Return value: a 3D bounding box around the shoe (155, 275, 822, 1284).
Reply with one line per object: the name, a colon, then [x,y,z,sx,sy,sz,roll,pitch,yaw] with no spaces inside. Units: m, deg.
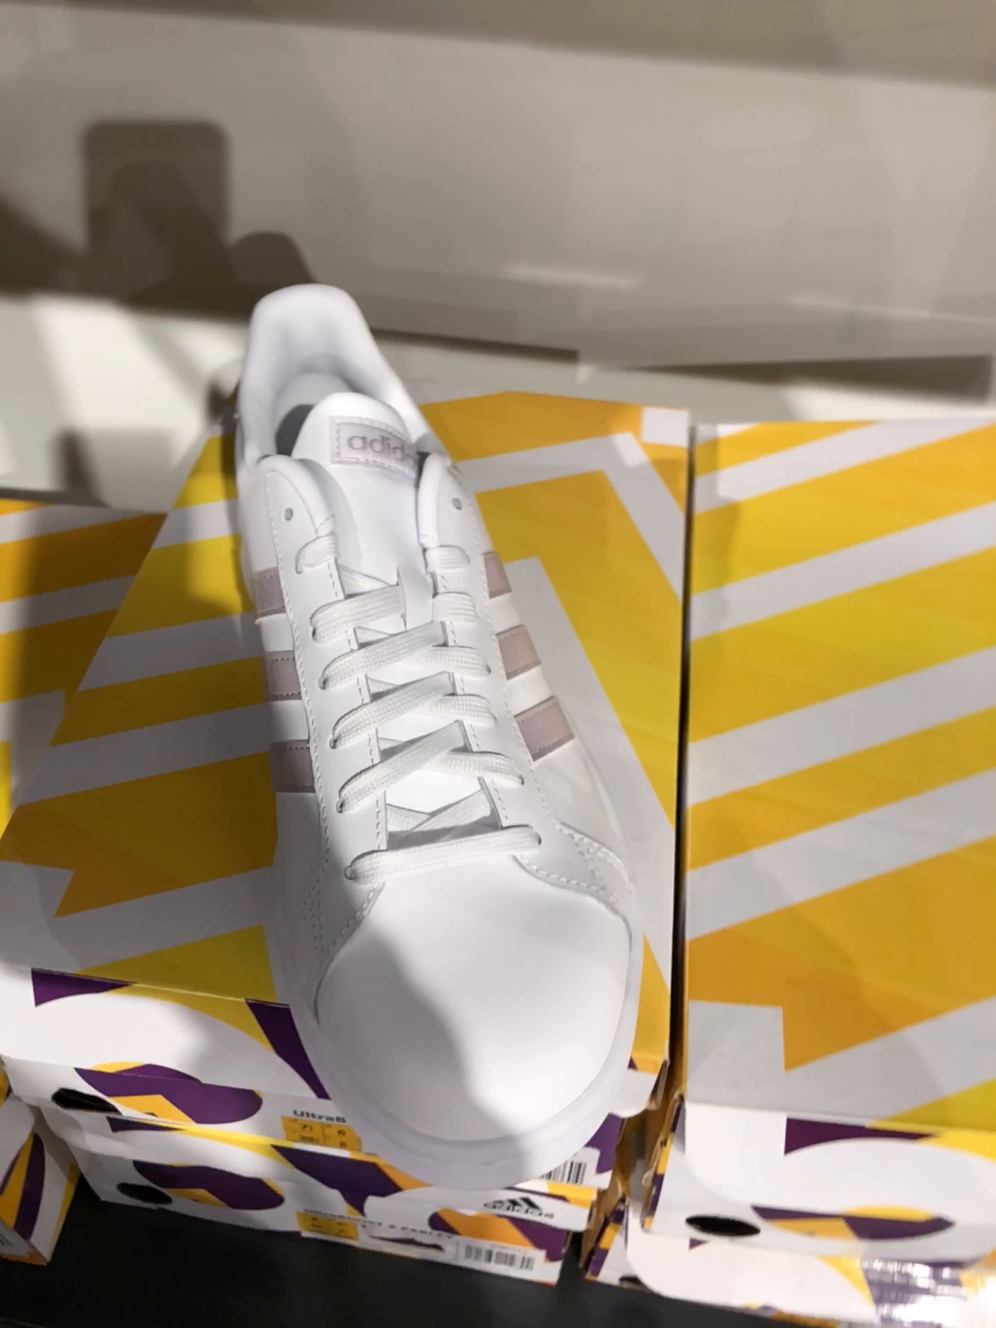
shoe: [-0.029,0.002,0.333,0.110,0.090,0.291,-10,48,-11]
